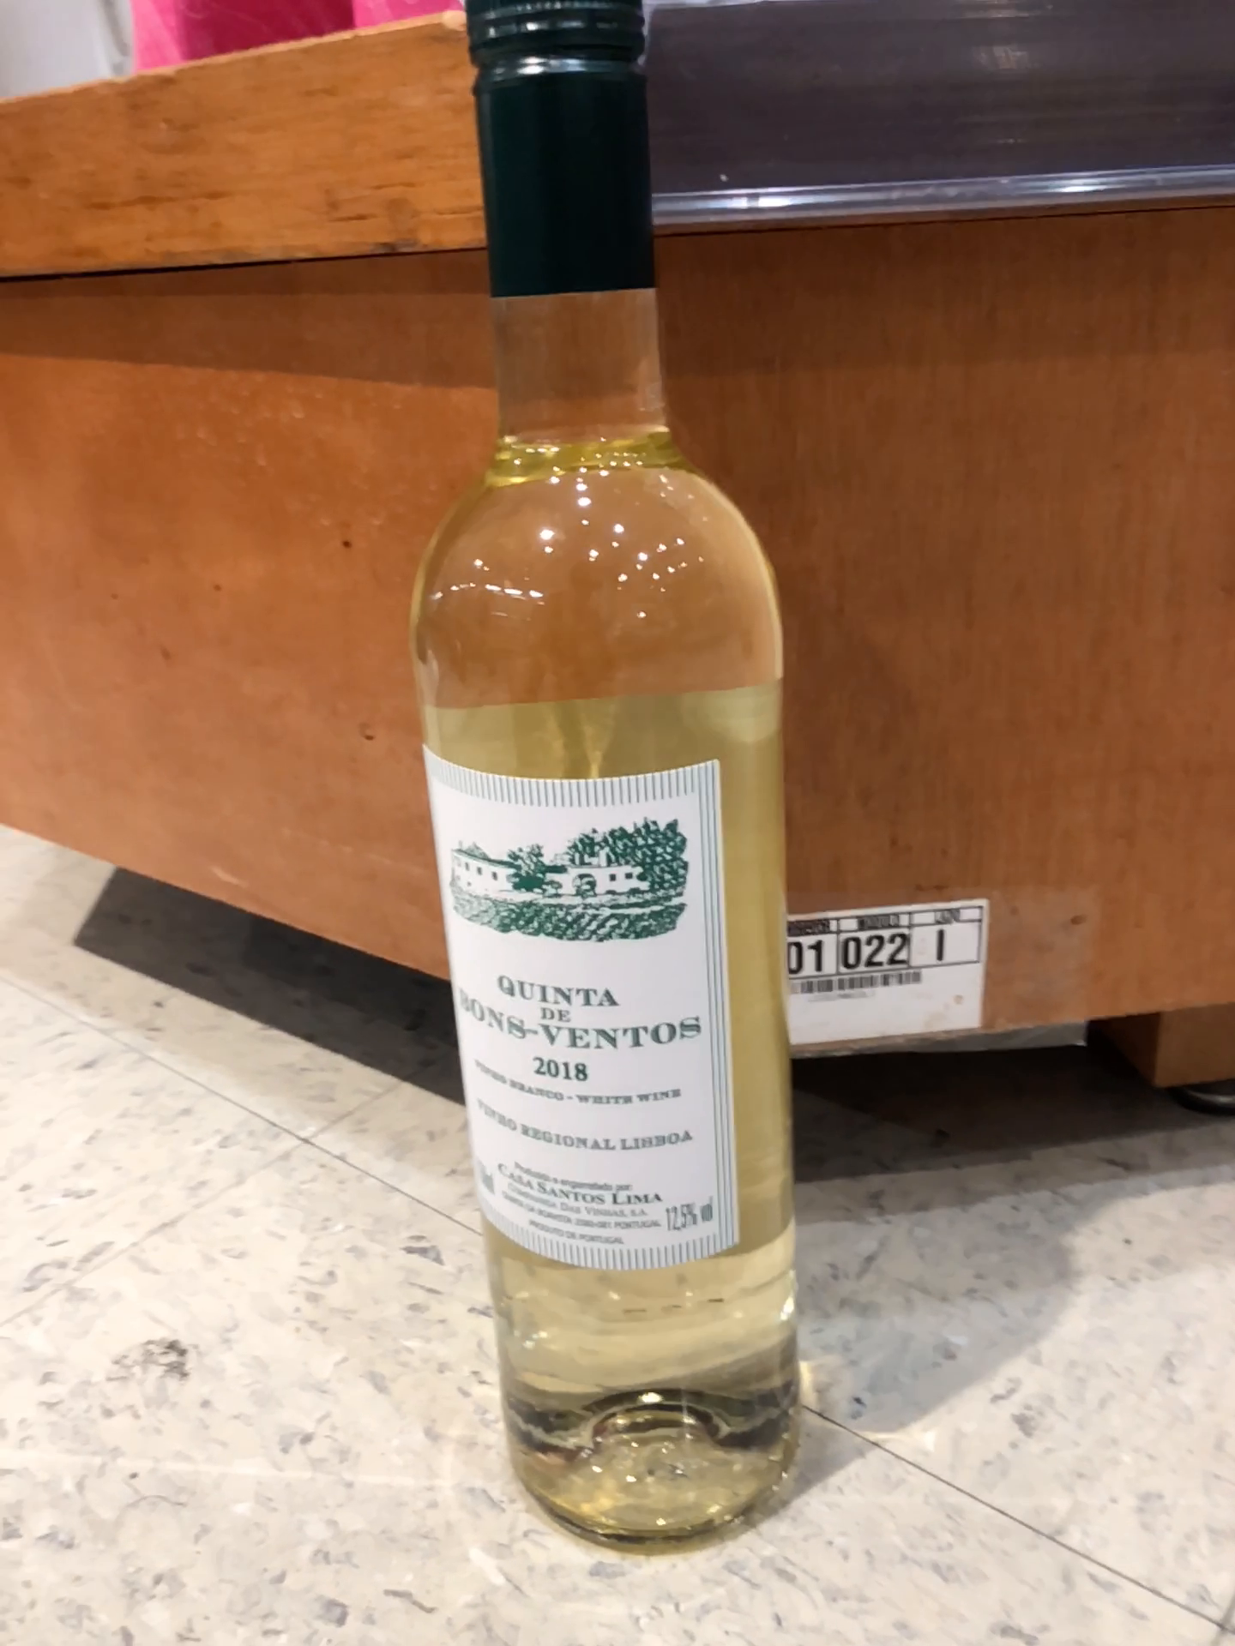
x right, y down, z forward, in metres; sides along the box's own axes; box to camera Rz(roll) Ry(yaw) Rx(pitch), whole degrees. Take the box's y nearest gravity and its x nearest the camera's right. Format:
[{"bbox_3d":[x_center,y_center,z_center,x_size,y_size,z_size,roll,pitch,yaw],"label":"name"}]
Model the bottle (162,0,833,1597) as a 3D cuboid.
[{"bbox_3d":[-0.005,-0.003,0.272,0.080,0.308,0.080,-4,21,1],"label":"bottle"}]
